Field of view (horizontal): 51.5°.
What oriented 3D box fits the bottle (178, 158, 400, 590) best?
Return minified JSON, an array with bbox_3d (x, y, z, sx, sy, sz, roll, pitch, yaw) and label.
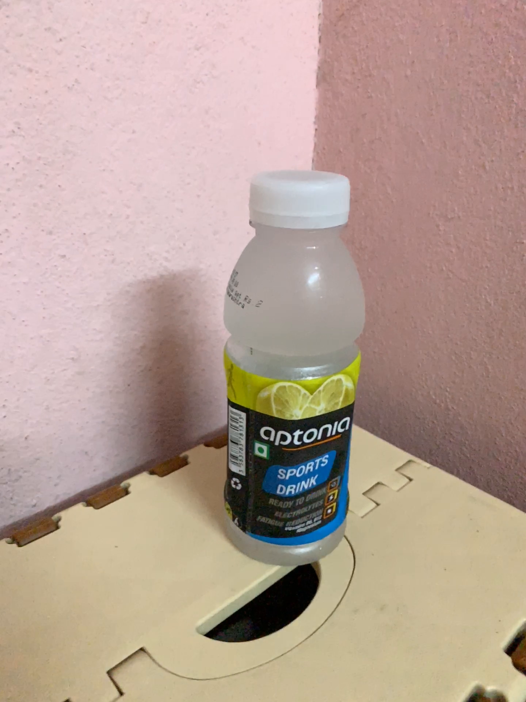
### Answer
[{"bbox_3d":[0.006,0.011,0.246,0.070,0.179,0.060,-6,25,-14],"label":"bottle"}]
